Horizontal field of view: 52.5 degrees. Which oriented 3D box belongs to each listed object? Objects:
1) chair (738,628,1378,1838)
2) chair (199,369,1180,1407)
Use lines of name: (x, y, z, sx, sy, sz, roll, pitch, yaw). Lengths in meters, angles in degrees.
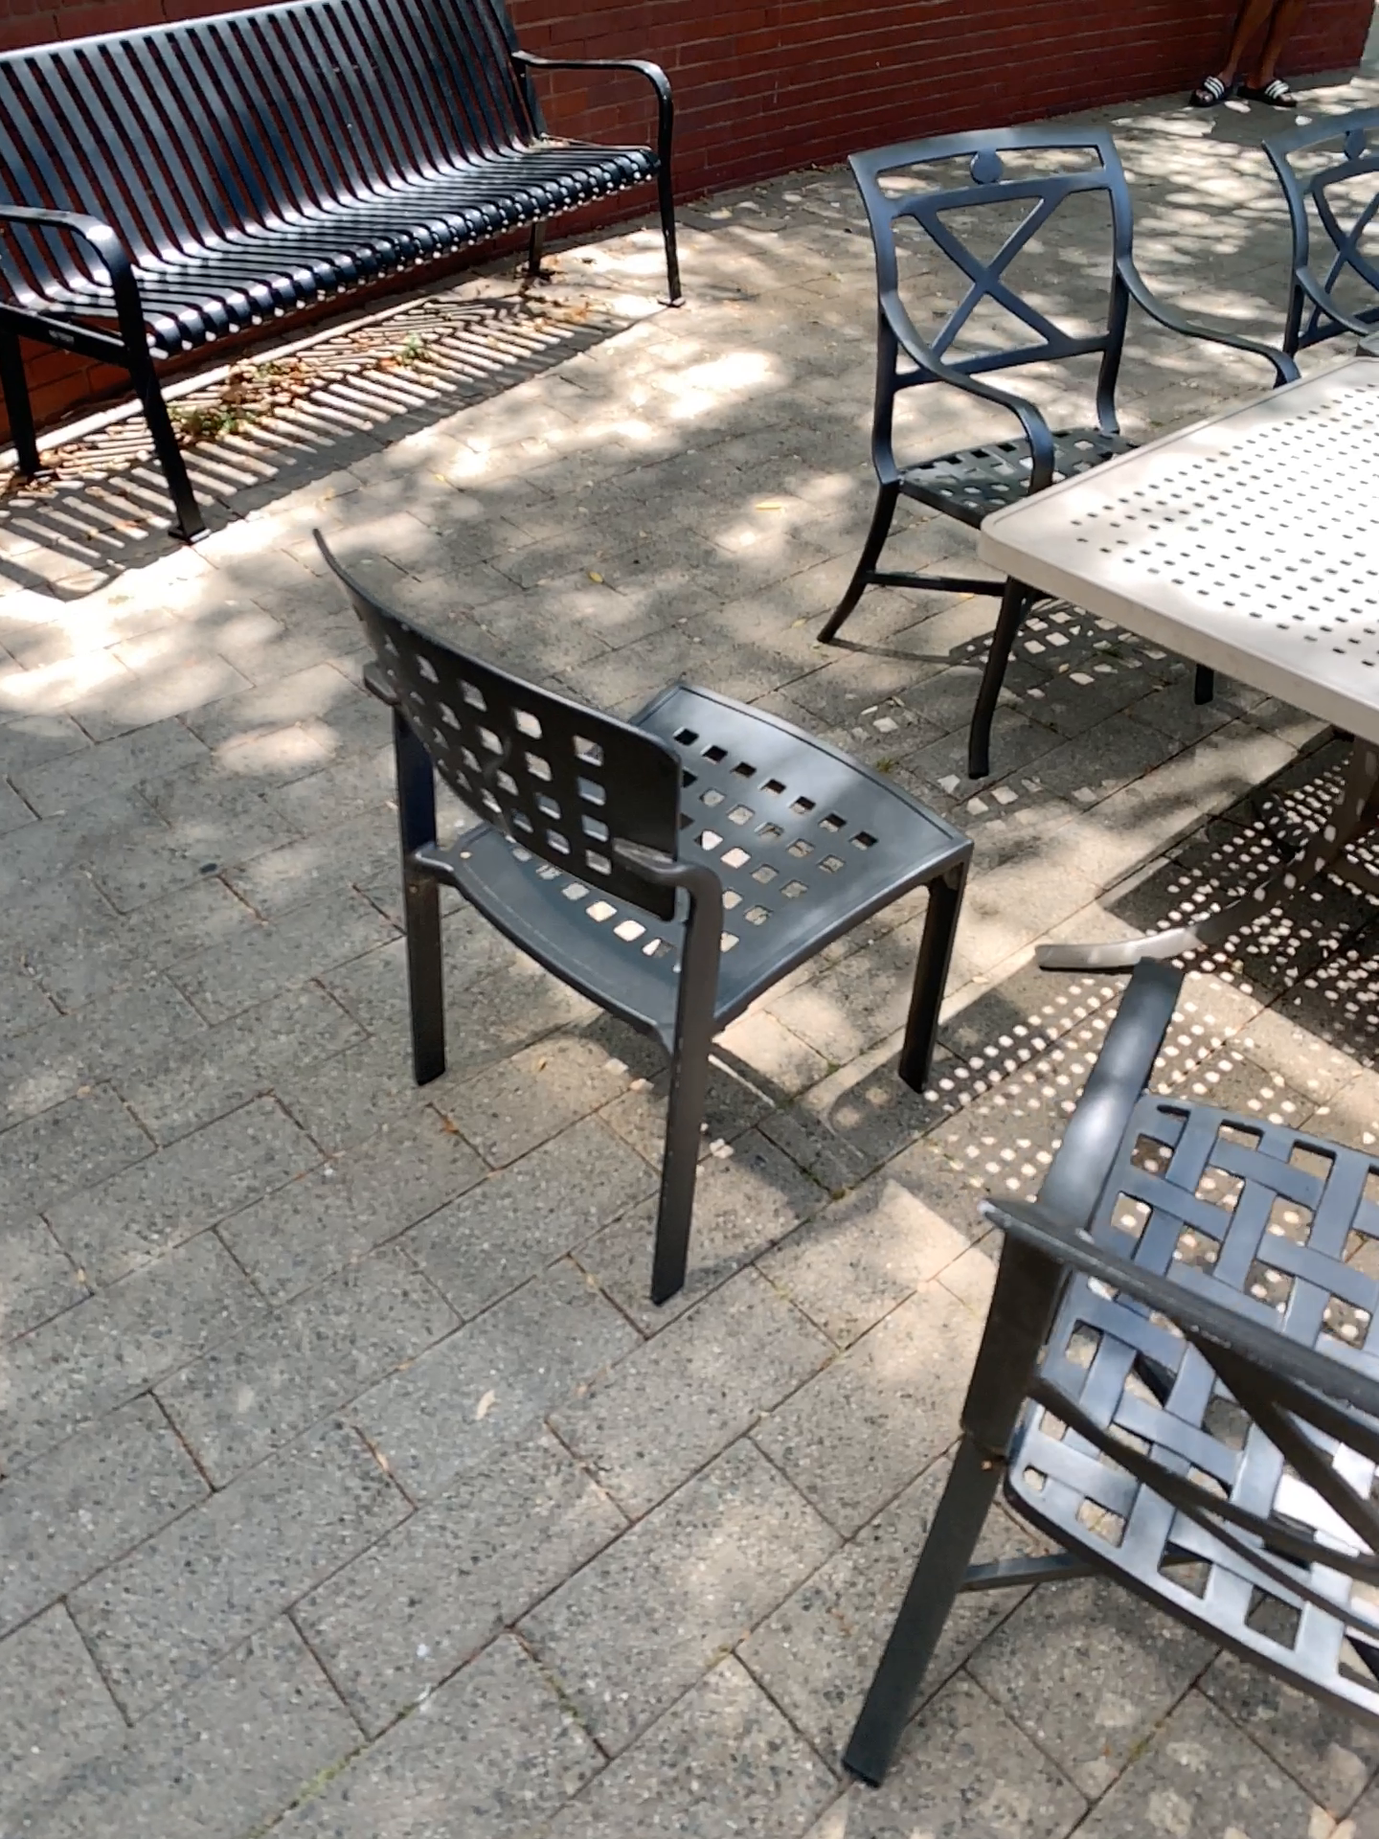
chair: (0.470, 0.351, 0.973, 0.621, 0.755, 0.653, 19, 44, 20)
chair: (0.000, -0.076, 1.507, 0.623, 0.706, 0.651, 33, 50, 31)
